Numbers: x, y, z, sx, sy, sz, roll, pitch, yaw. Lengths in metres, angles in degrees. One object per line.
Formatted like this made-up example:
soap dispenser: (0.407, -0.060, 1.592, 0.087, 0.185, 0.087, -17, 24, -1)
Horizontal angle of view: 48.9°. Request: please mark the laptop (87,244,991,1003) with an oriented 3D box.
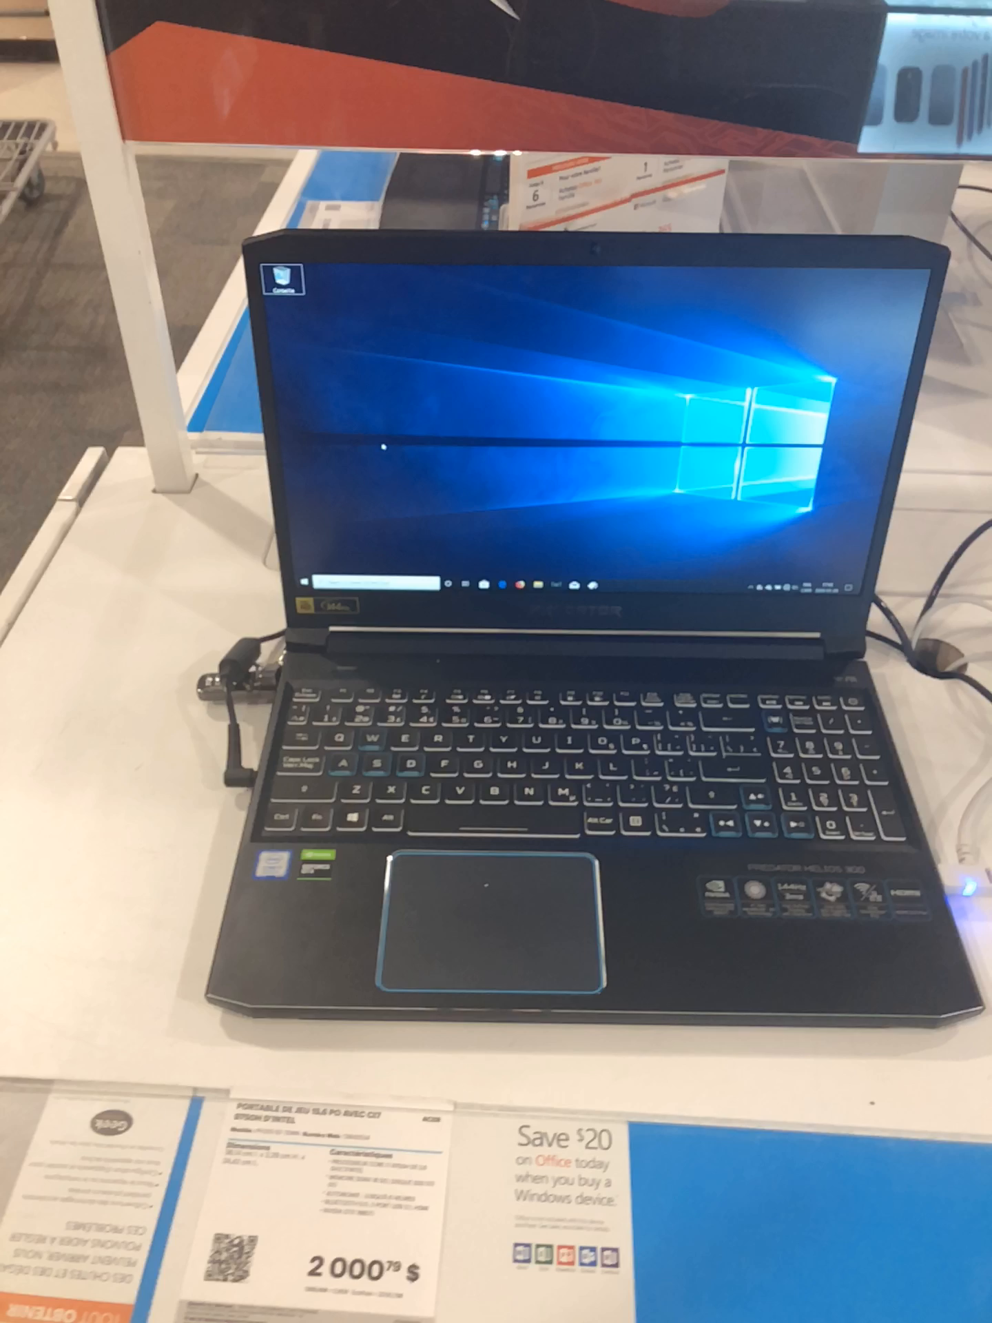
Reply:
laptop: (0.048, -0.026, 0.520, 0.348, 0.230, 0.274, 1, 44, 1)
